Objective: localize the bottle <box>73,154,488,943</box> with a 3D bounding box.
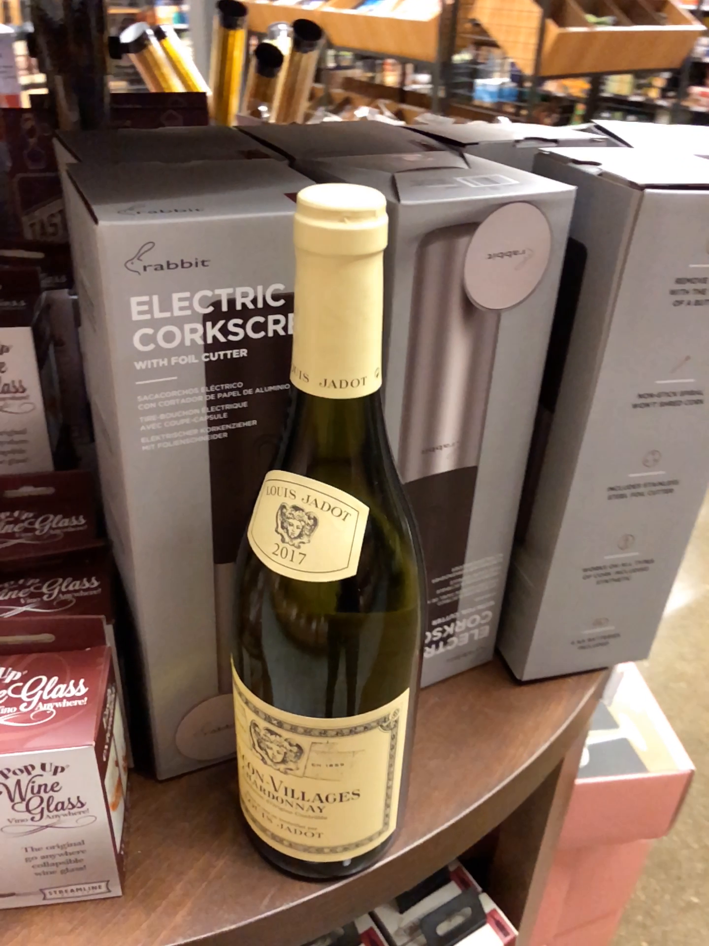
[{"bbox_3d":[-0.021,0.044,0.312,0.090,0.299,0.090,1,32,-1],"label":"bottle"}]
